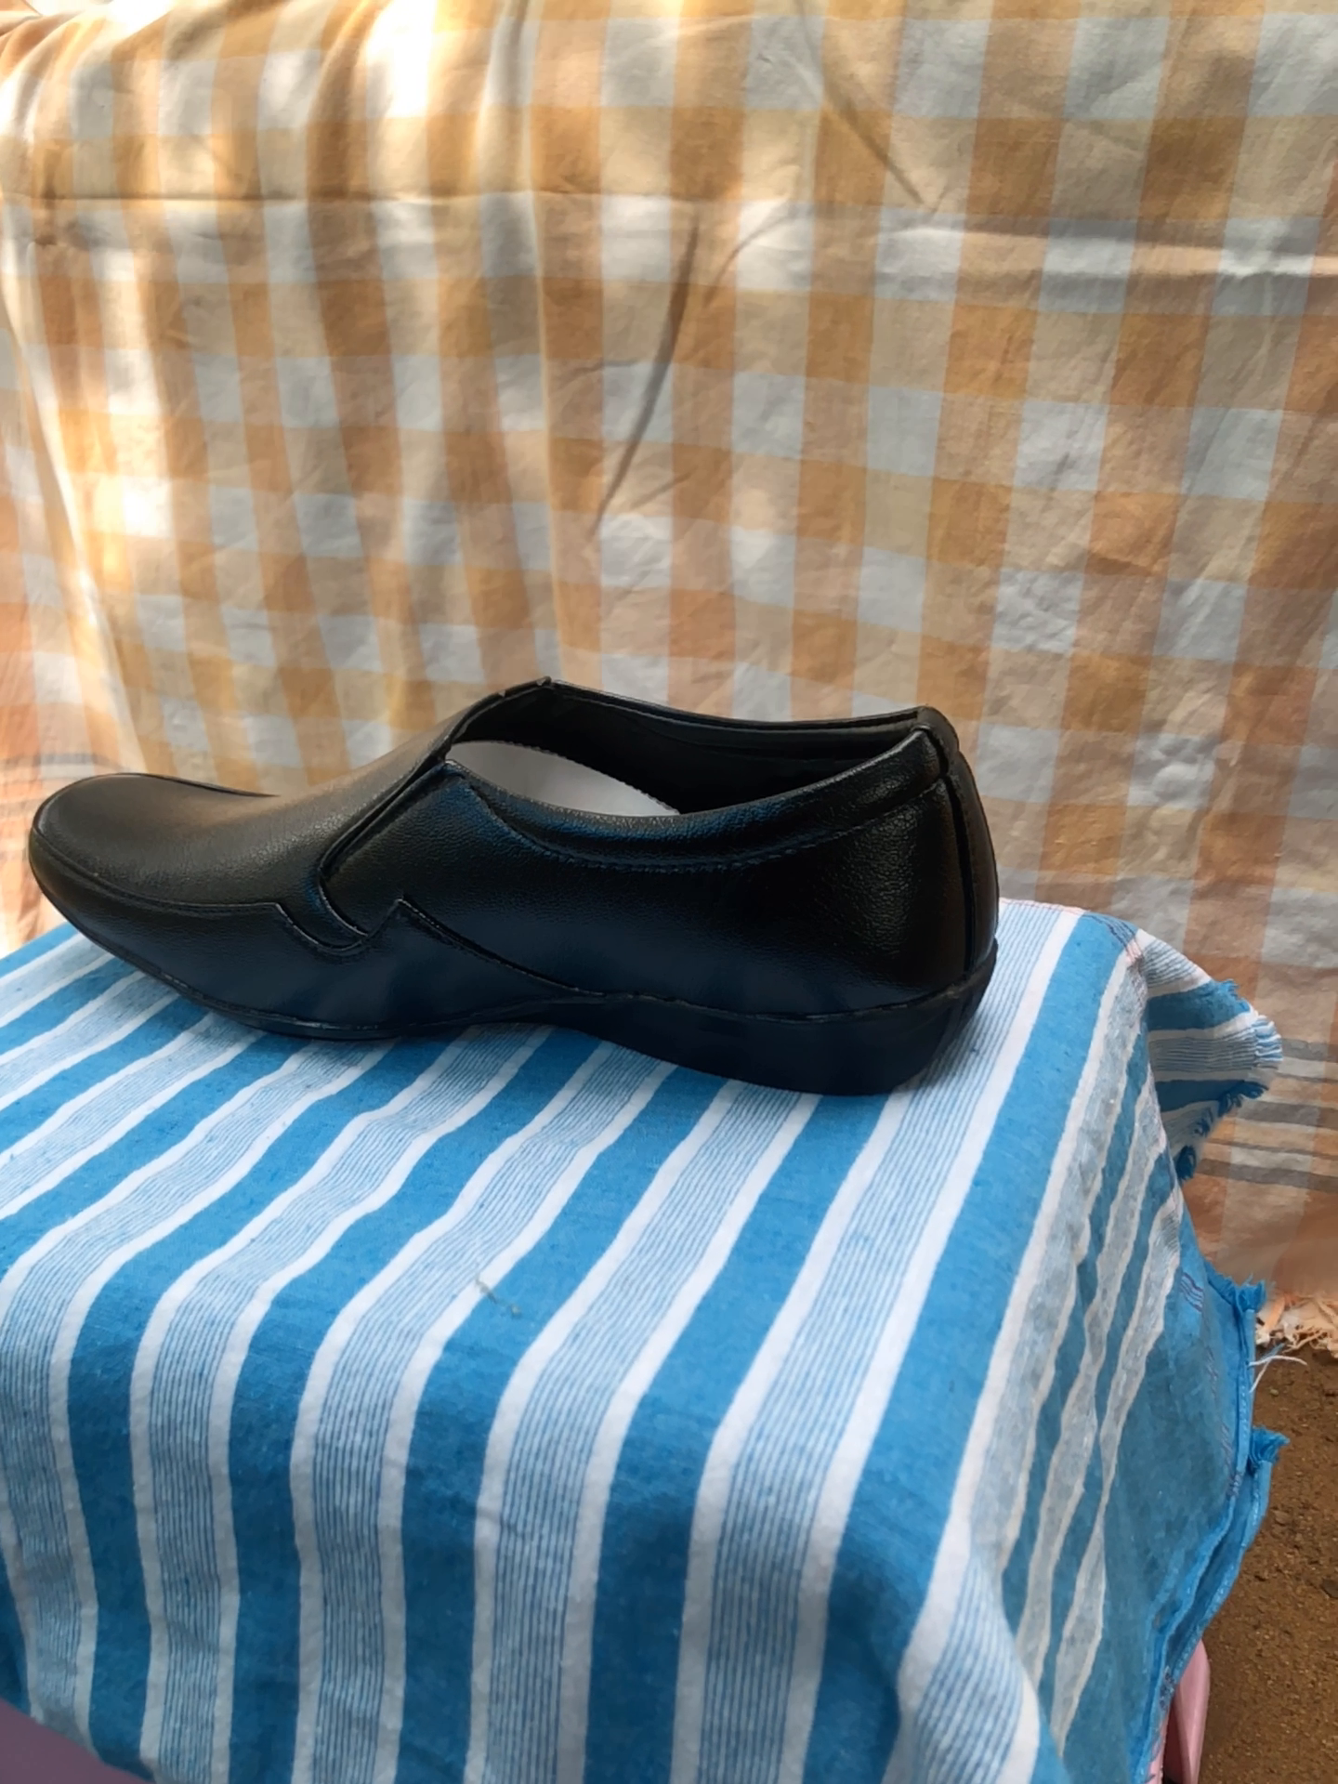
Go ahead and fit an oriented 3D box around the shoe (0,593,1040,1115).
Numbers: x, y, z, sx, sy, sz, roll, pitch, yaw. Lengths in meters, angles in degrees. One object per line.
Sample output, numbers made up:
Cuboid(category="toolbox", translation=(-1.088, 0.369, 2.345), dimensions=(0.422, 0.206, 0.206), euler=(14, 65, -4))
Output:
Cuboid(category="shoe", translation=(-0.048, -0.022, 0.445), dimensions=(0.300, 0.109, 0.101), euler=(4, 24, 15))
